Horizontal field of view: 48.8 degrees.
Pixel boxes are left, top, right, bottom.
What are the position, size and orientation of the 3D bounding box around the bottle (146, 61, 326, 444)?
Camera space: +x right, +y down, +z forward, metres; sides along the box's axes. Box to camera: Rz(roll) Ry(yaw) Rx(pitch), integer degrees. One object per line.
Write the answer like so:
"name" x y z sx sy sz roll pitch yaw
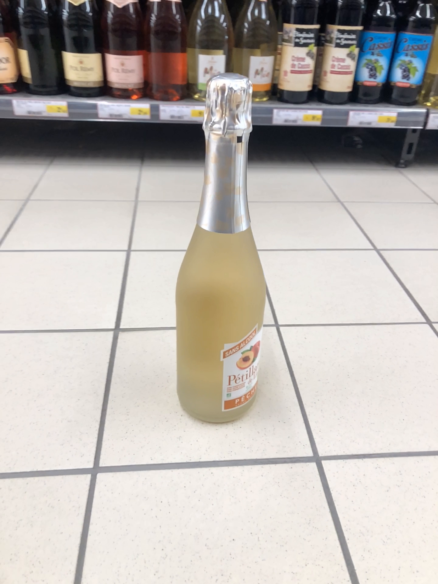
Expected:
"bottle" 0.005 -0.024 0.421 0.090 0.308 0.090 2 32 -1
